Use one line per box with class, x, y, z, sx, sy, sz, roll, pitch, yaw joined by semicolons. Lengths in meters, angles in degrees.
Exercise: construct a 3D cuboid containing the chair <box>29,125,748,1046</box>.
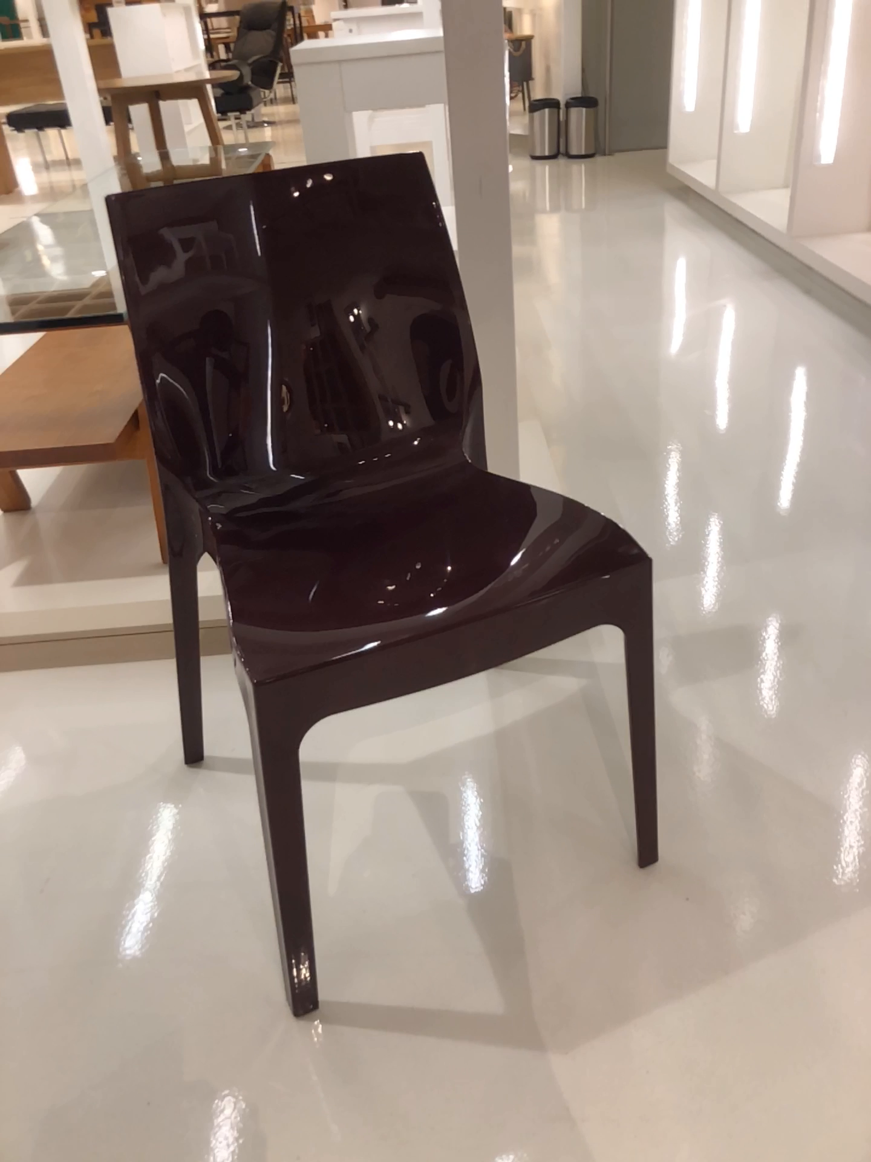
chair;-0.067;-0.045;1.135;0.531;0.814;0.564;-17;32;-19
